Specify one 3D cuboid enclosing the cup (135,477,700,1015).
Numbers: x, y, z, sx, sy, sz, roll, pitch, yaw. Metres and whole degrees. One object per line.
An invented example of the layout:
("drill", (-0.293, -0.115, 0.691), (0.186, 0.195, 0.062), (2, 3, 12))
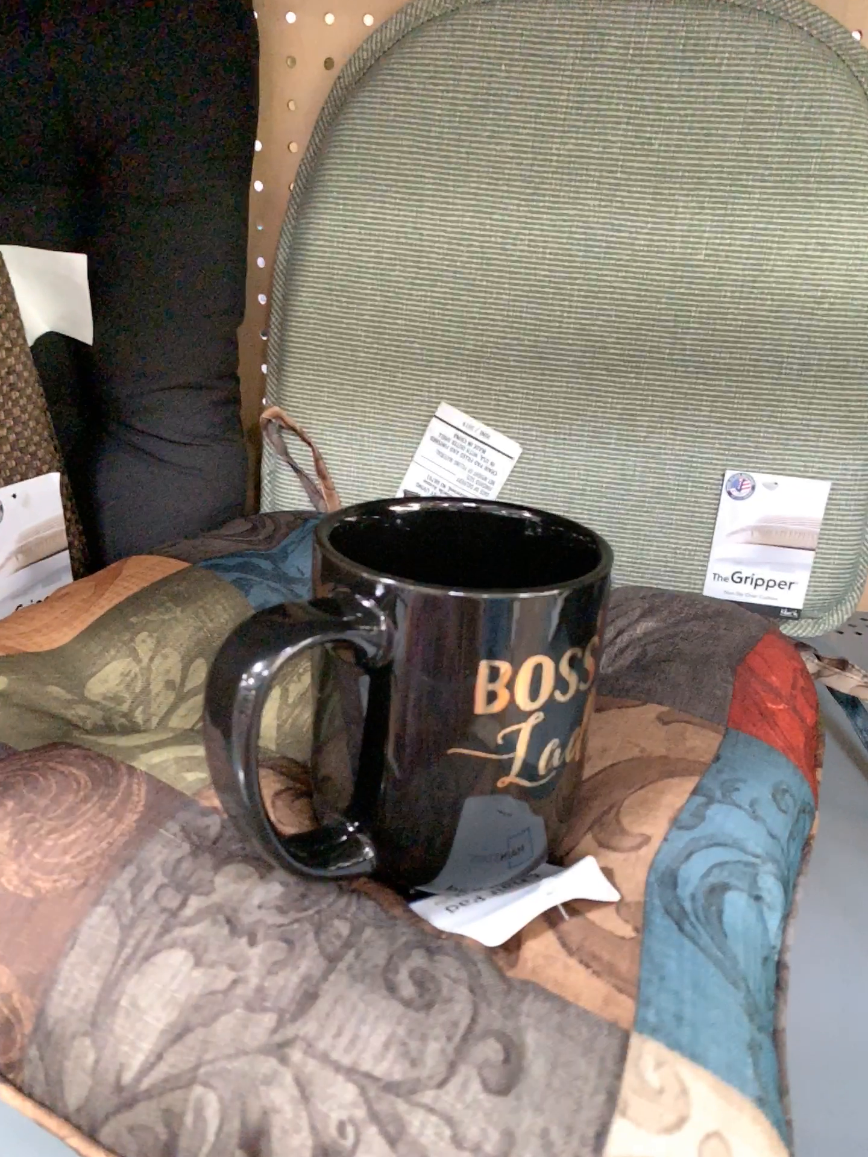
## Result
("cup", (-0.004, 0.032, 0.275), (0.100, 0.100, 0.130), (22, 21, 37))
